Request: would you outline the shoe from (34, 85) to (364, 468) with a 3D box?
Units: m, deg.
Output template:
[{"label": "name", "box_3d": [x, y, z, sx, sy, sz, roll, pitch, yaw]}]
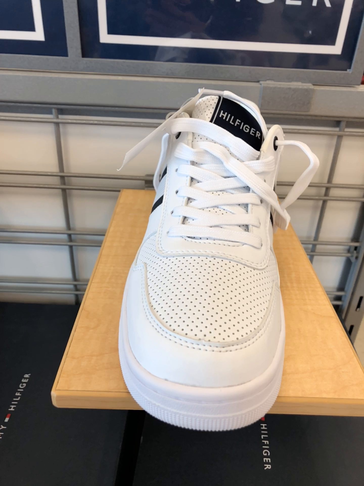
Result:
[{"label": "shoe", "box_3d": [0.017, -0.023, 0.279, 0.107, 0.113, 0.282, 5, 30, 4]}]
